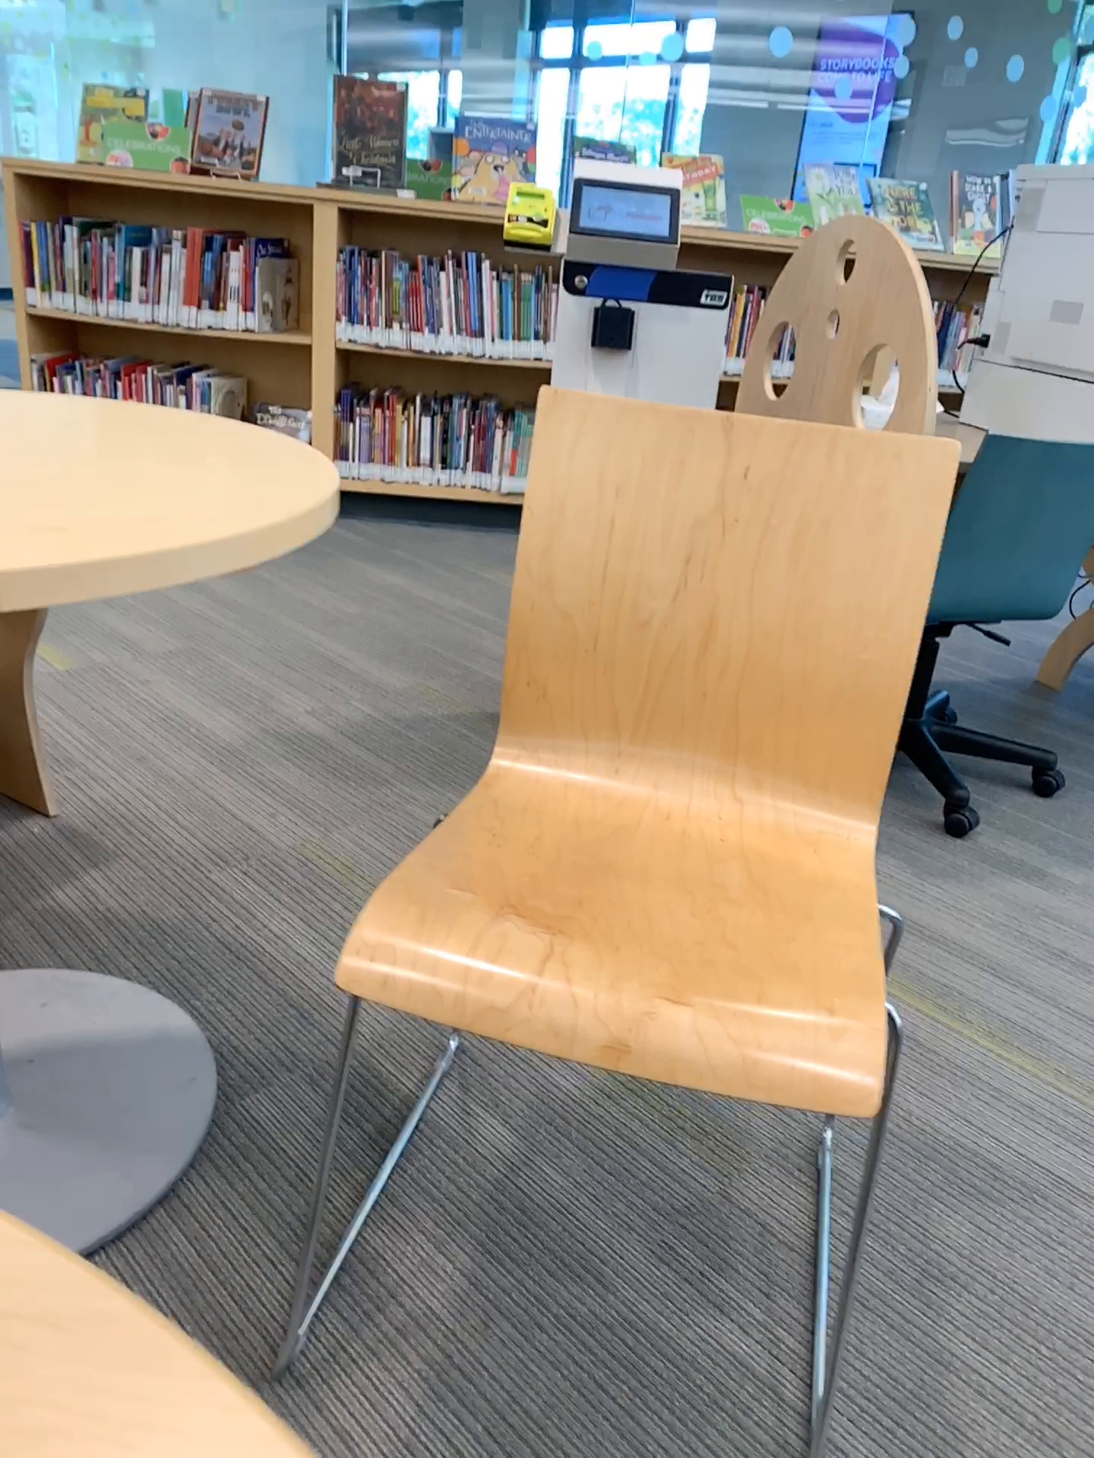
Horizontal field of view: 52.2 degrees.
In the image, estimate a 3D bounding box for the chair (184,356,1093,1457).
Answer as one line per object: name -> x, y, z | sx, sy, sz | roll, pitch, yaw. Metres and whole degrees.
chair -> 0.088, 0.128, 1.042 | 0.560, 0.806, 0.623 | 10, 23, 9
